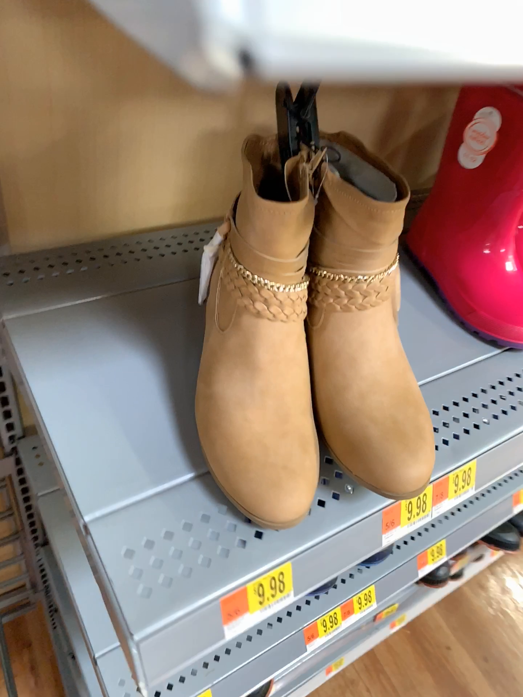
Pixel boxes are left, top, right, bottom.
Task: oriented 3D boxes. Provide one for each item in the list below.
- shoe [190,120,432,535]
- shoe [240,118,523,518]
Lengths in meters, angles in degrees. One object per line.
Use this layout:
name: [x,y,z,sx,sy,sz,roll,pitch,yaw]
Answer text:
shoe: [0.008,-0.018,0.356,0.088,0.161,0.218,5,45,-11]
shoe: [0.063,-0.032,0.383,0.083,0.154,0.238,-3,47,-18]
